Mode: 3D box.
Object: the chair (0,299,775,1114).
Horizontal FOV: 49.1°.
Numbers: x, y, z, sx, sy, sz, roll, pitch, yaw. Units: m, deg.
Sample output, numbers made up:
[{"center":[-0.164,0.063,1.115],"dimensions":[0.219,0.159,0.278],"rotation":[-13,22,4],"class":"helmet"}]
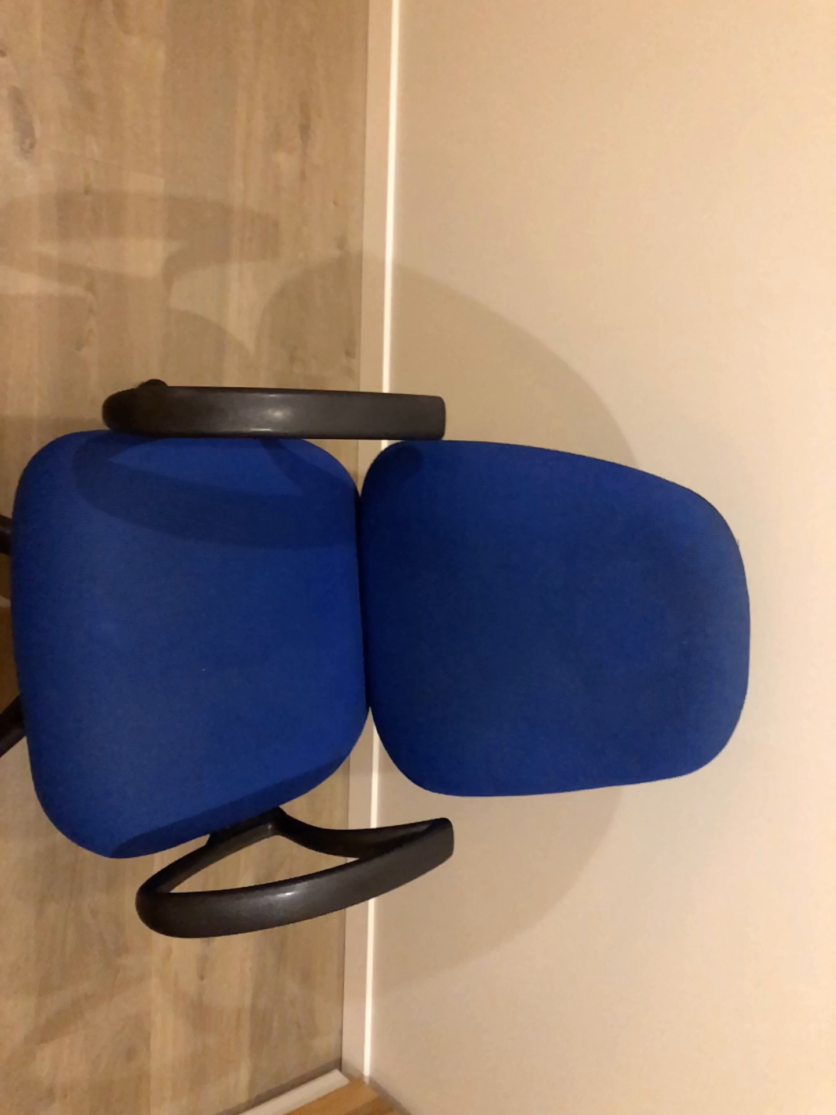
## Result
[{"center":[-0.158,0.099,1.161],"dimensions":[0.703,0.905,0.696],"rotation":[-11,102,-38],"class":"chair"}]
